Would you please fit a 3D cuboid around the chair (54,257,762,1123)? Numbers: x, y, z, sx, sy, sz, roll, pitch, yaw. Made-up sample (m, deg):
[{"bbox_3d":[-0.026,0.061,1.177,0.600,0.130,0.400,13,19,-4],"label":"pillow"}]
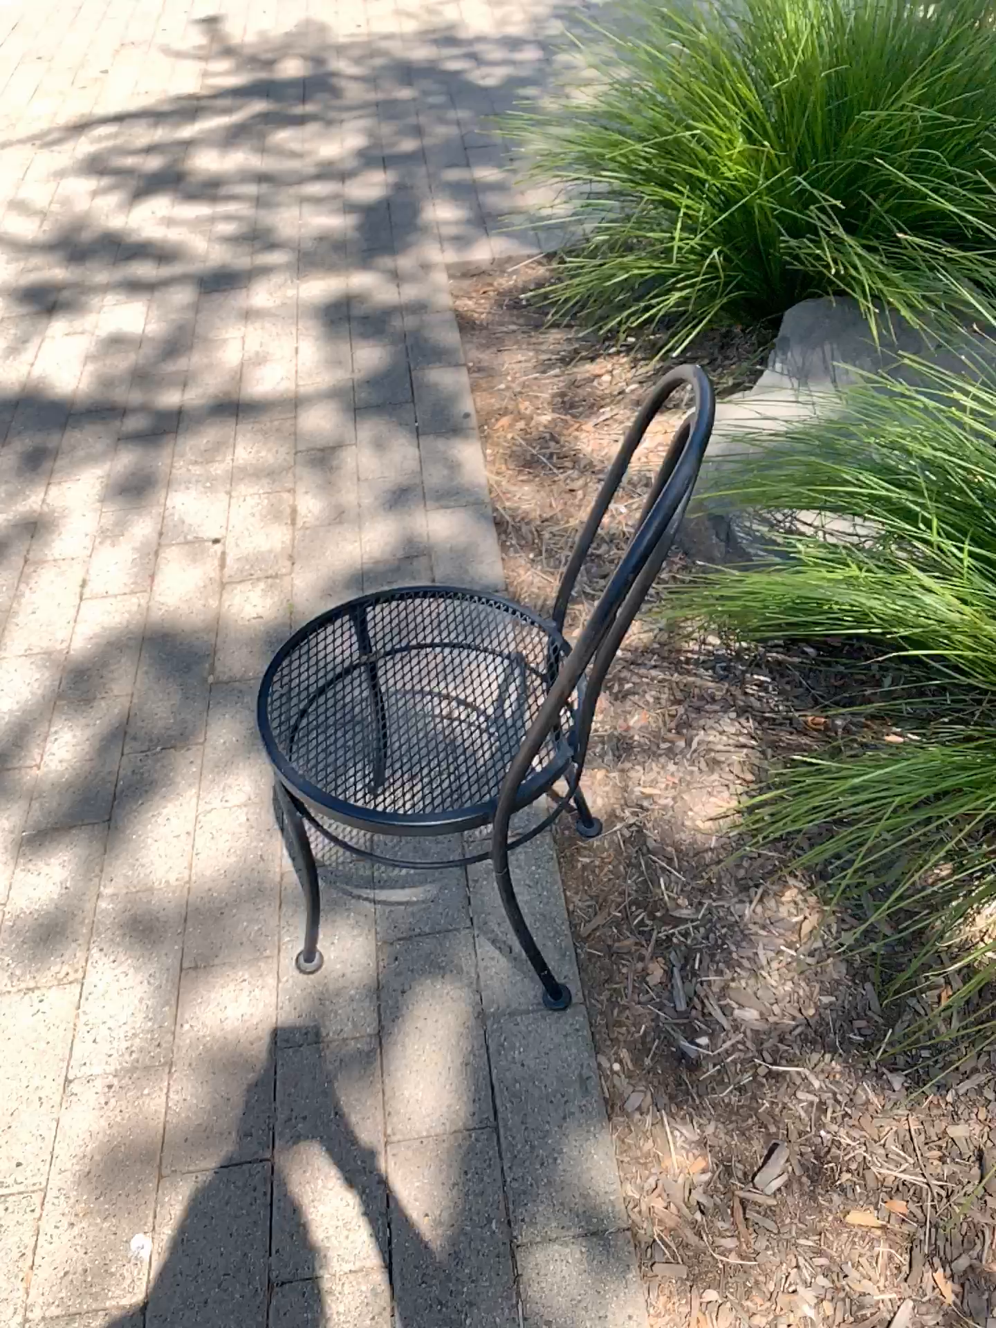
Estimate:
[{"bbox_3d":[-0.018,0.093,1.300,0.532,0.997,0.460,8,47,13],"label":"chair"}]
